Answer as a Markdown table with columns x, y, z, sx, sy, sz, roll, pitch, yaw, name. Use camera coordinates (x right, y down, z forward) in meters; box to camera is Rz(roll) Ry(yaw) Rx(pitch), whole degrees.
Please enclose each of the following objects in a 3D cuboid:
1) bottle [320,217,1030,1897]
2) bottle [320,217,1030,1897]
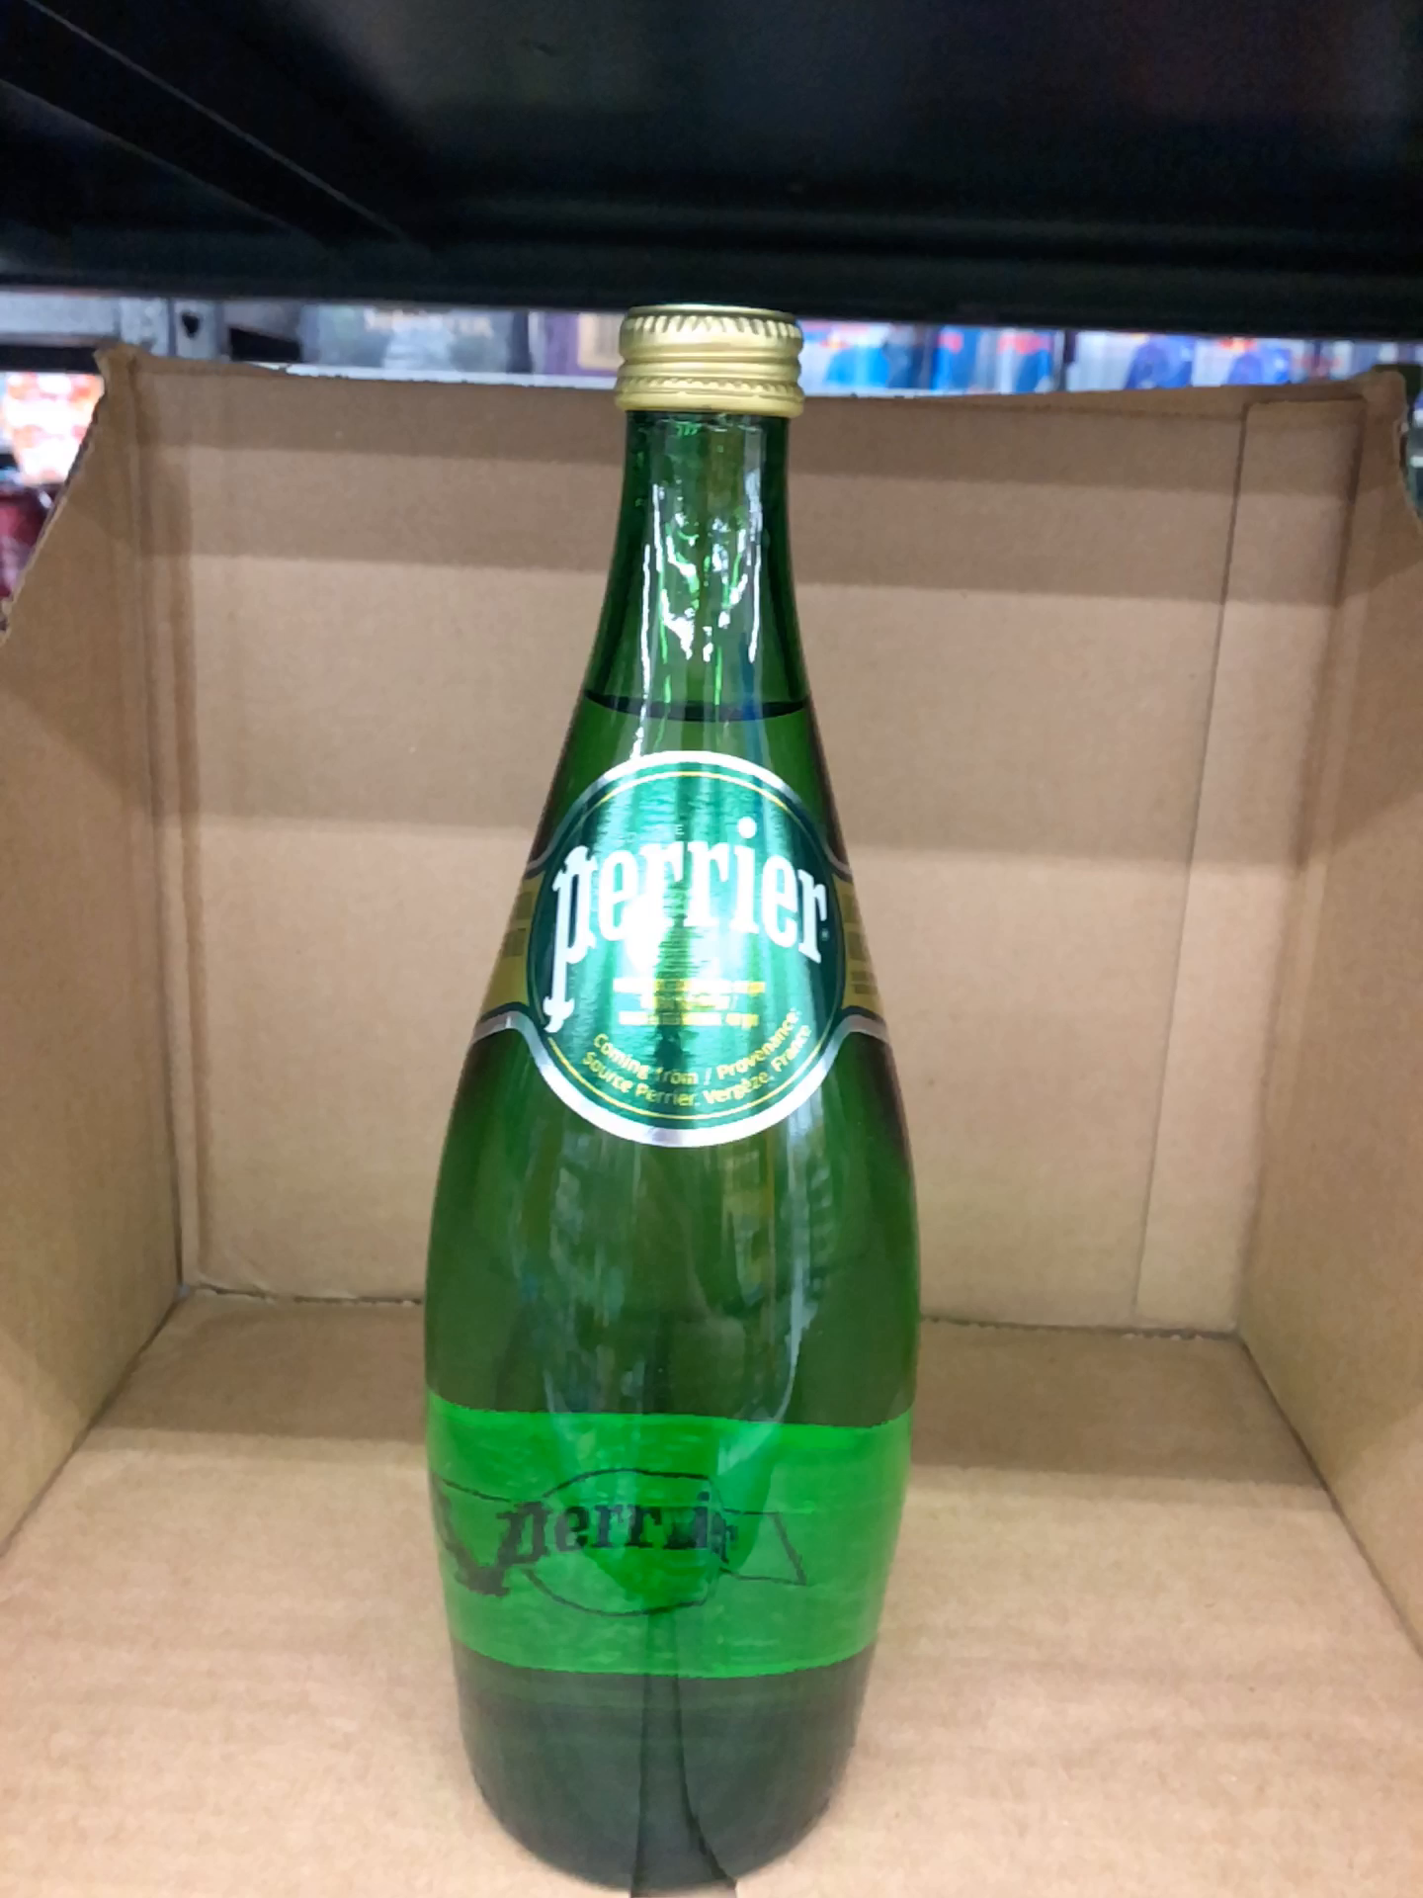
| x | y | z | sx | sy | sz | roll | pitch | yaw | name |
| --- | --- | --- | --- | --- | --- | --- | --- | --- | --- |
| -0.008 | 0.026 | 0.275 | 0.090 | 0.269 | 0.080 | 2 | 16 | 1 | bottle |
| -0.008 | 0.026 | 0.275 | 0.090 | 0.269 | 0.080 | 2 | 16 | 1 | bottle |
